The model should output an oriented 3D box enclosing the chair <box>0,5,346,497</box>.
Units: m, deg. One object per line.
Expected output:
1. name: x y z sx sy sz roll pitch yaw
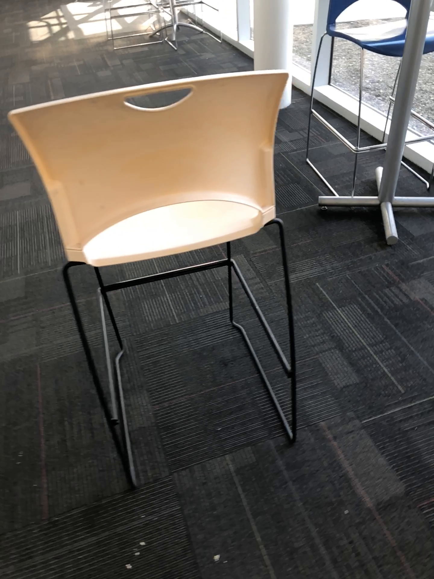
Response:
1. chair: -0.134 -0.107 1.294 0.580 0.995 0.724 -13 40 -9
